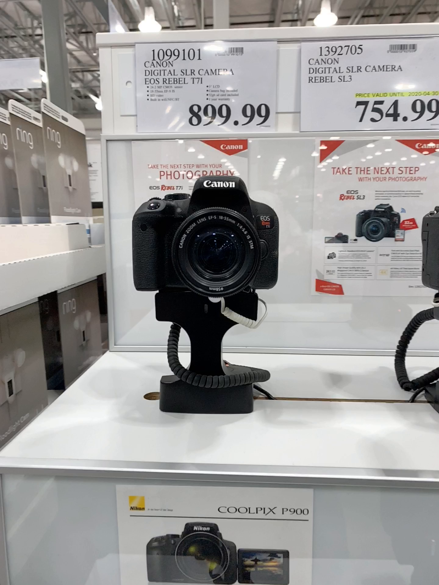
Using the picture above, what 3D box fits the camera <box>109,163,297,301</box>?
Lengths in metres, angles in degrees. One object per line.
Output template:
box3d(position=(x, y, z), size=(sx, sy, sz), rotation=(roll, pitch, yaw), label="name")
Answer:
box3d(position=(-0.011, -0.052, 0.387), size=(0.132, 0.096, 0.130), rotation=(-1, 8, 0), label="camera")
